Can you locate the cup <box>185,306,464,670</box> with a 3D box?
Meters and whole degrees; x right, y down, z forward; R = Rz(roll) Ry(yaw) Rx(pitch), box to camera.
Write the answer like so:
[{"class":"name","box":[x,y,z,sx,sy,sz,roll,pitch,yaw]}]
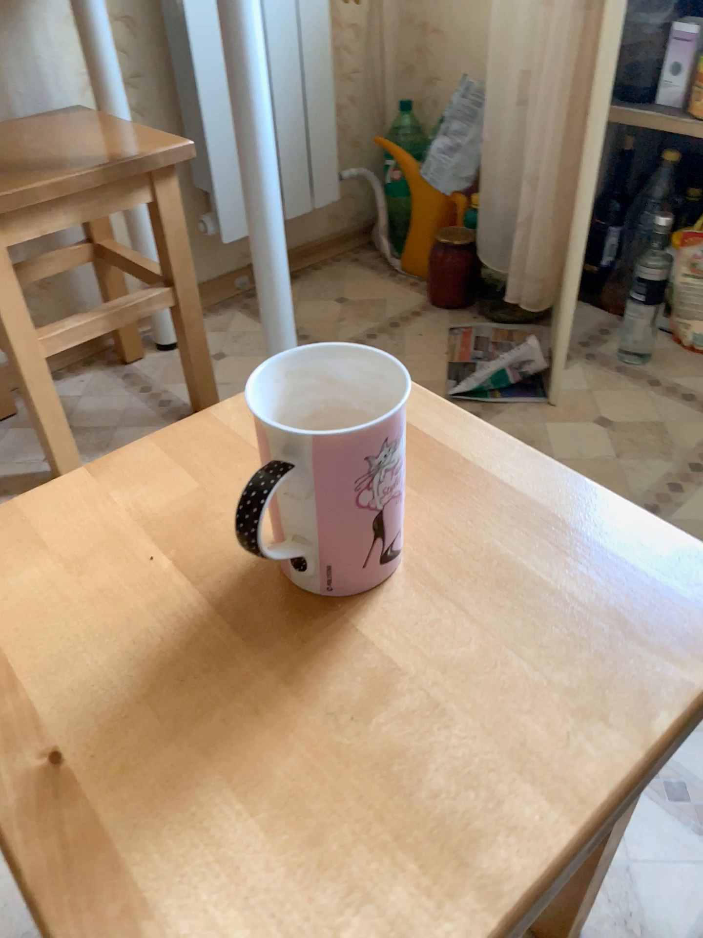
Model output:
[{"class":"cup","box":[-0.004,0.004,0.334,0.074,0.107,0.114,14,42,20]}]
